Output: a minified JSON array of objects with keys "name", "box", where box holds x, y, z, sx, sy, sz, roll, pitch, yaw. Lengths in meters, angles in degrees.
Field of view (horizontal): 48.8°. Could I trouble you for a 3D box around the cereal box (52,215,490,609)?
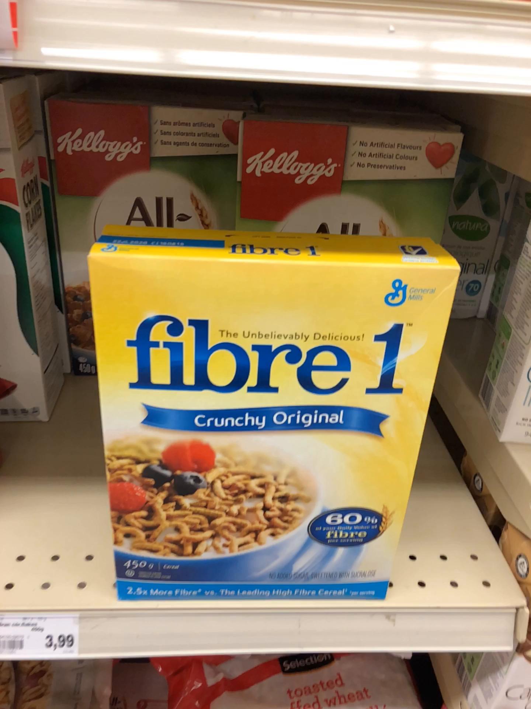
[{"name":"cereal box","box":[-0.003,0.049,0.365,0.210,0.248,0.060,1,29,-4]}]
